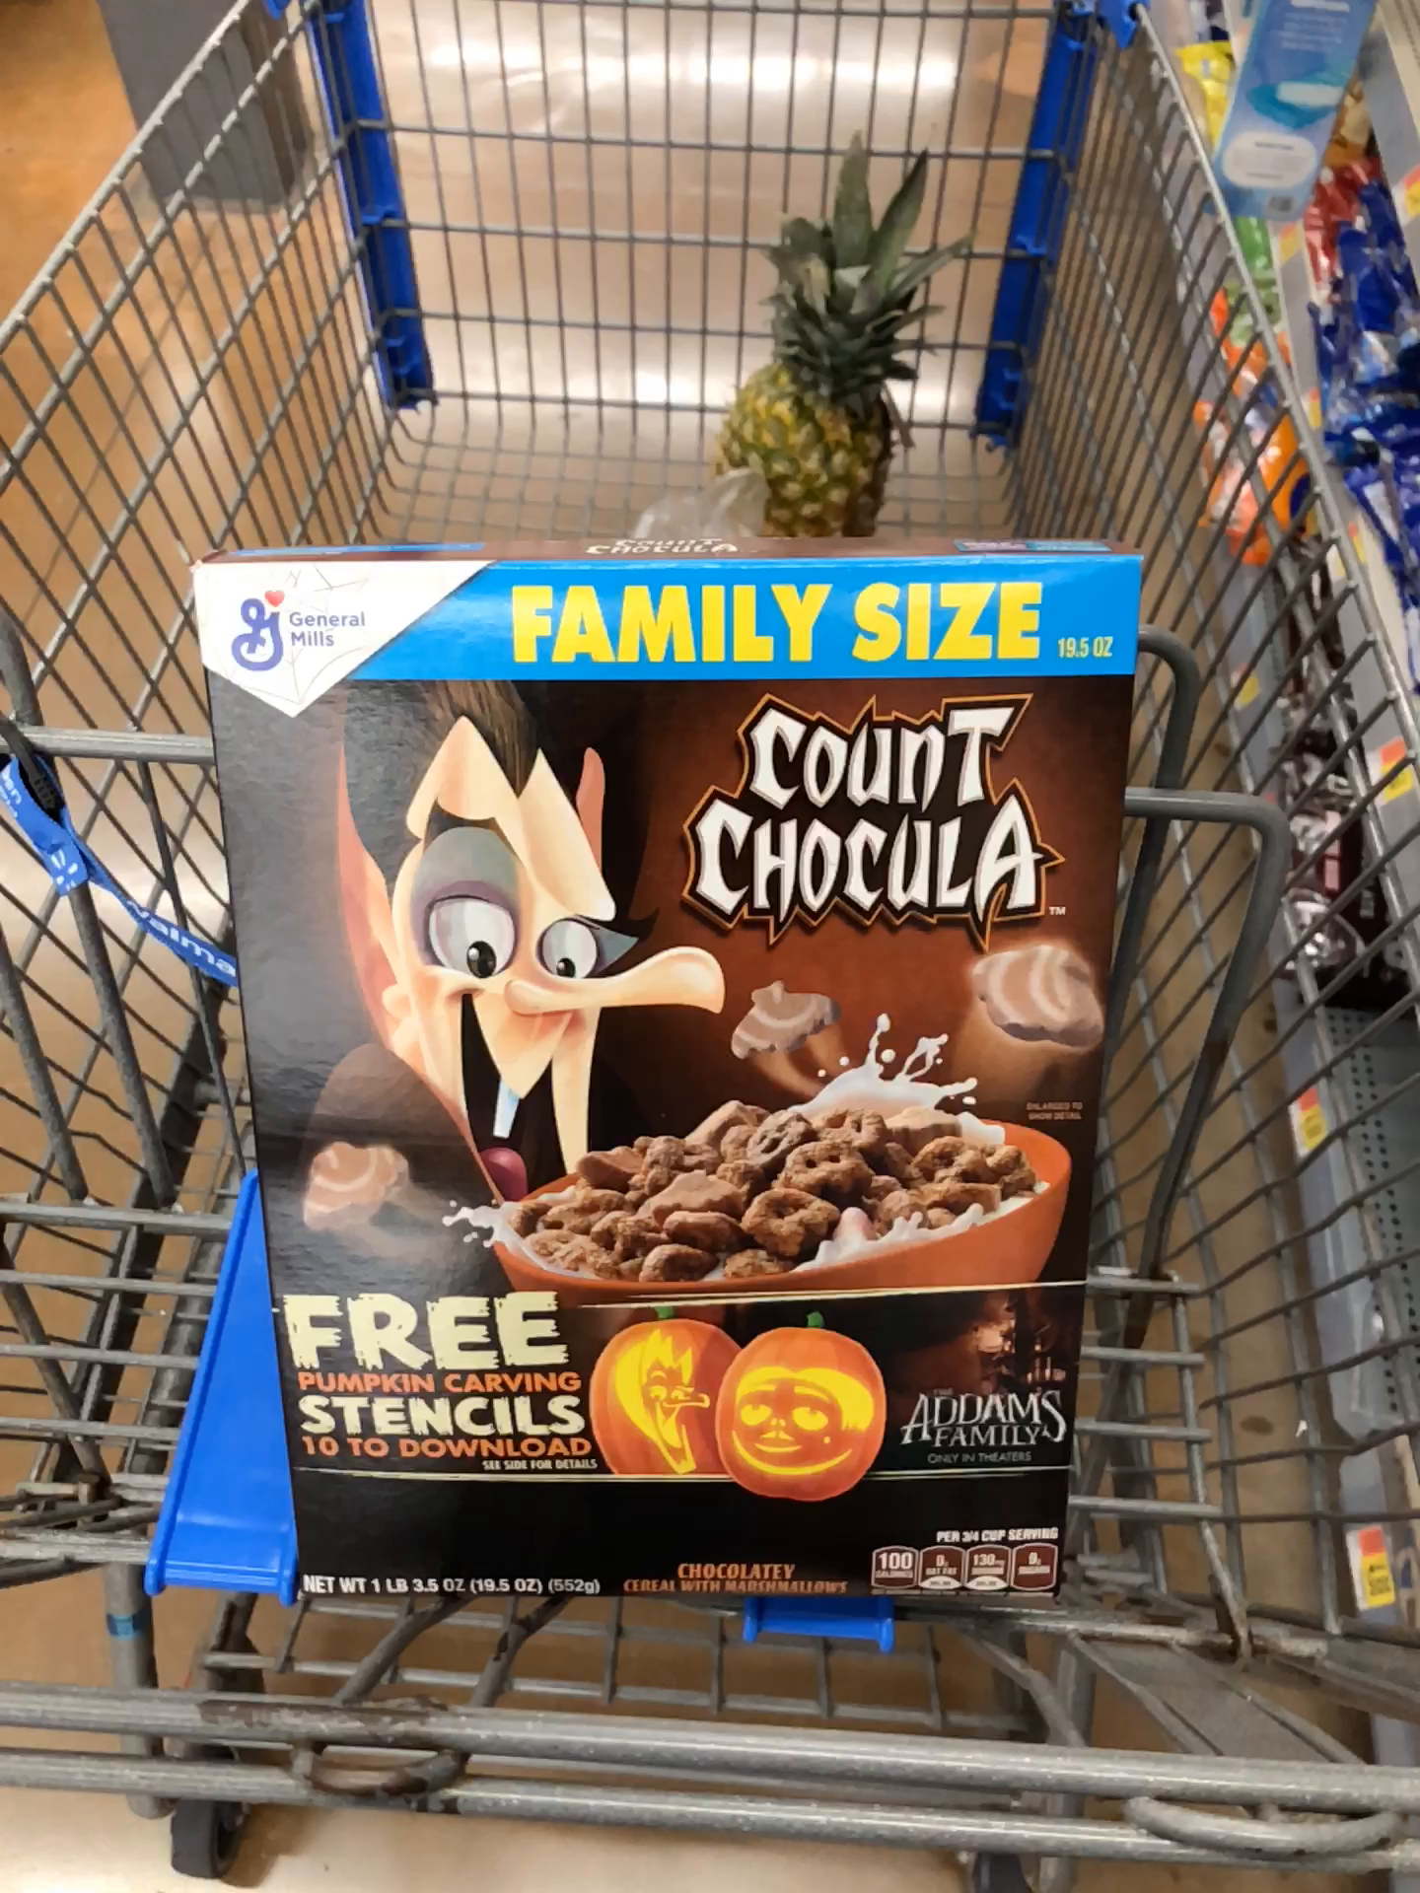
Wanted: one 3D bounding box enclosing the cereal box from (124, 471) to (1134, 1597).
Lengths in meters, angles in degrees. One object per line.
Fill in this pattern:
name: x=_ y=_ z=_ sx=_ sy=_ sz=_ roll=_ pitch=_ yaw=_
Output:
cereal box: x=-0.016 y=0.032 z=0.481 sx=0.250 sy=0.330 sz=0.080 roll=-2 pitch=19 yaw=-1
